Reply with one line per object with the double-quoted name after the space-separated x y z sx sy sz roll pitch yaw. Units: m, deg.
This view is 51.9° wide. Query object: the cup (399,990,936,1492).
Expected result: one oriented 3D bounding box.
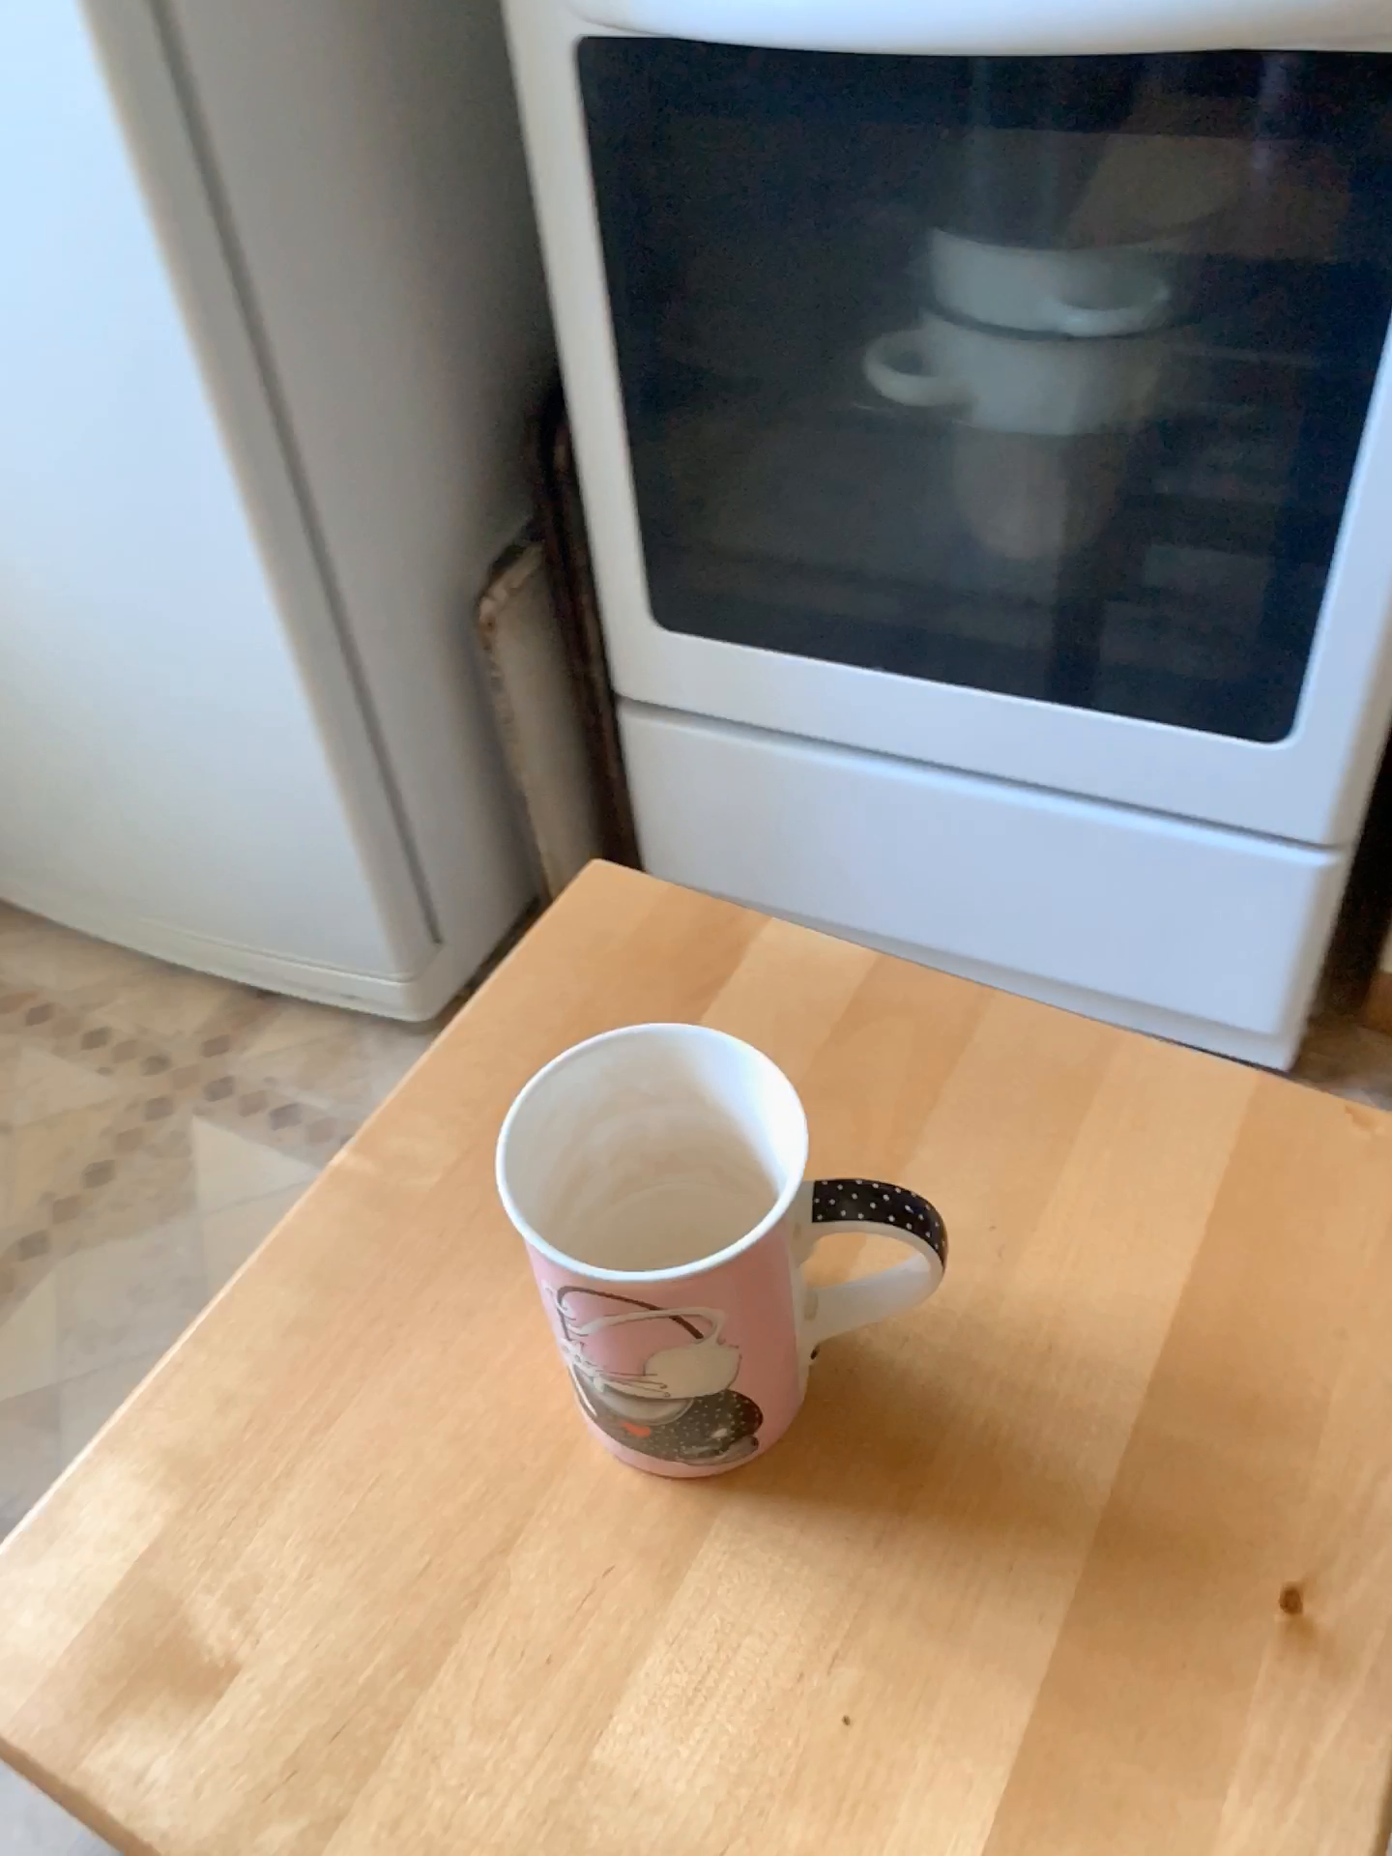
0.001 0.080 0.362 0.113 0.107 0.075 -1 44 7 "cup"
